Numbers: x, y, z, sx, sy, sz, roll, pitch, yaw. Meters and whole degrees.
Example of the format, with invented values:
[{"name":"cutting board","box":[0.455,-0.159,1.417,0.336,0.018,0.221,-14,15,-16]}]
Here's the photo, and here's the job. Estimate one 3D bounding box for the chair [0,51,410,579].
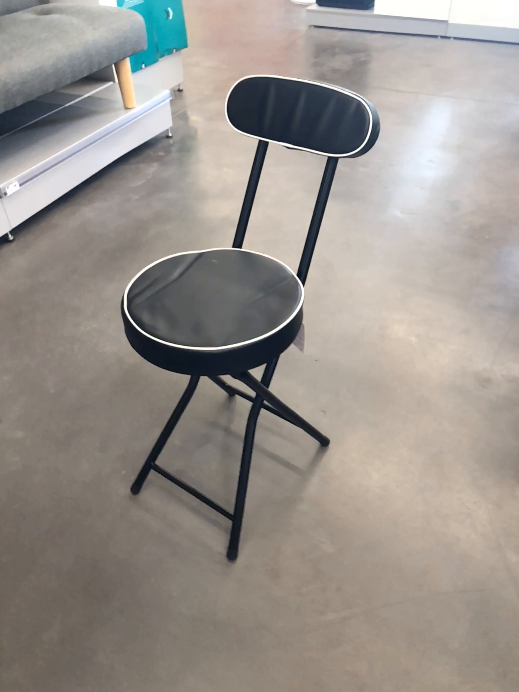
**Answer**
[{"name":"chair","box":[-0.040,-0.049,1.052,0.340,0.756,0.513,24,48,28]}]
